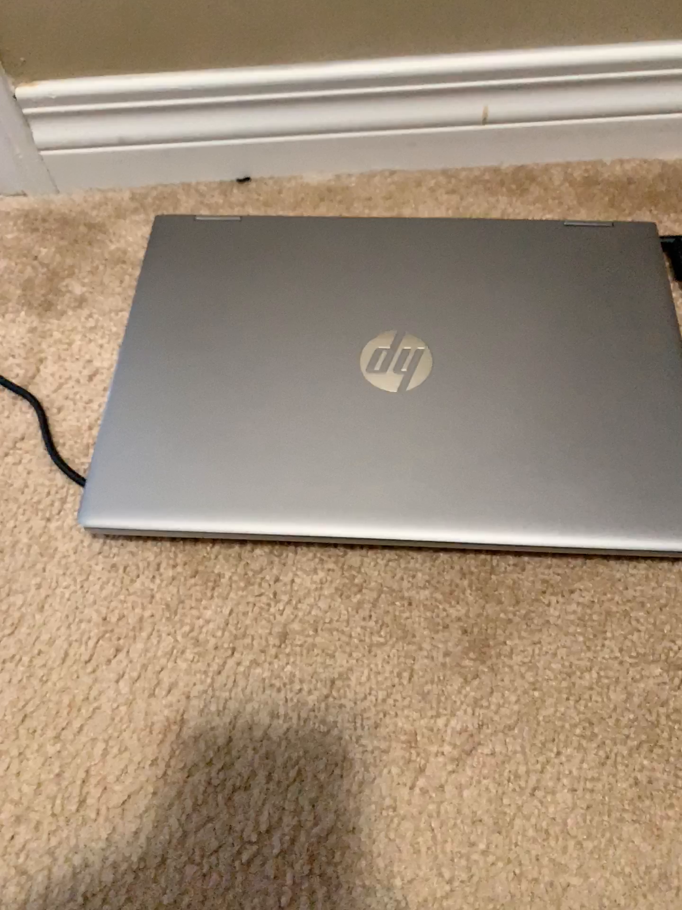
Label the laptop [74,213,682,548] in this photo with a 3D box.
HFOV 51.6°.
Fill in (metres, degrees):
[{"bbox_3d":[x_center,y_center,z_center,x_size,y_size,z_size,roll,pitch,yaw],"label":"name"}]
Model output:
[{"bbox_3d":[0.034,-0.056,0.401,0.319,0.001,0.222,2,60,2],"label":"laptop"}]
